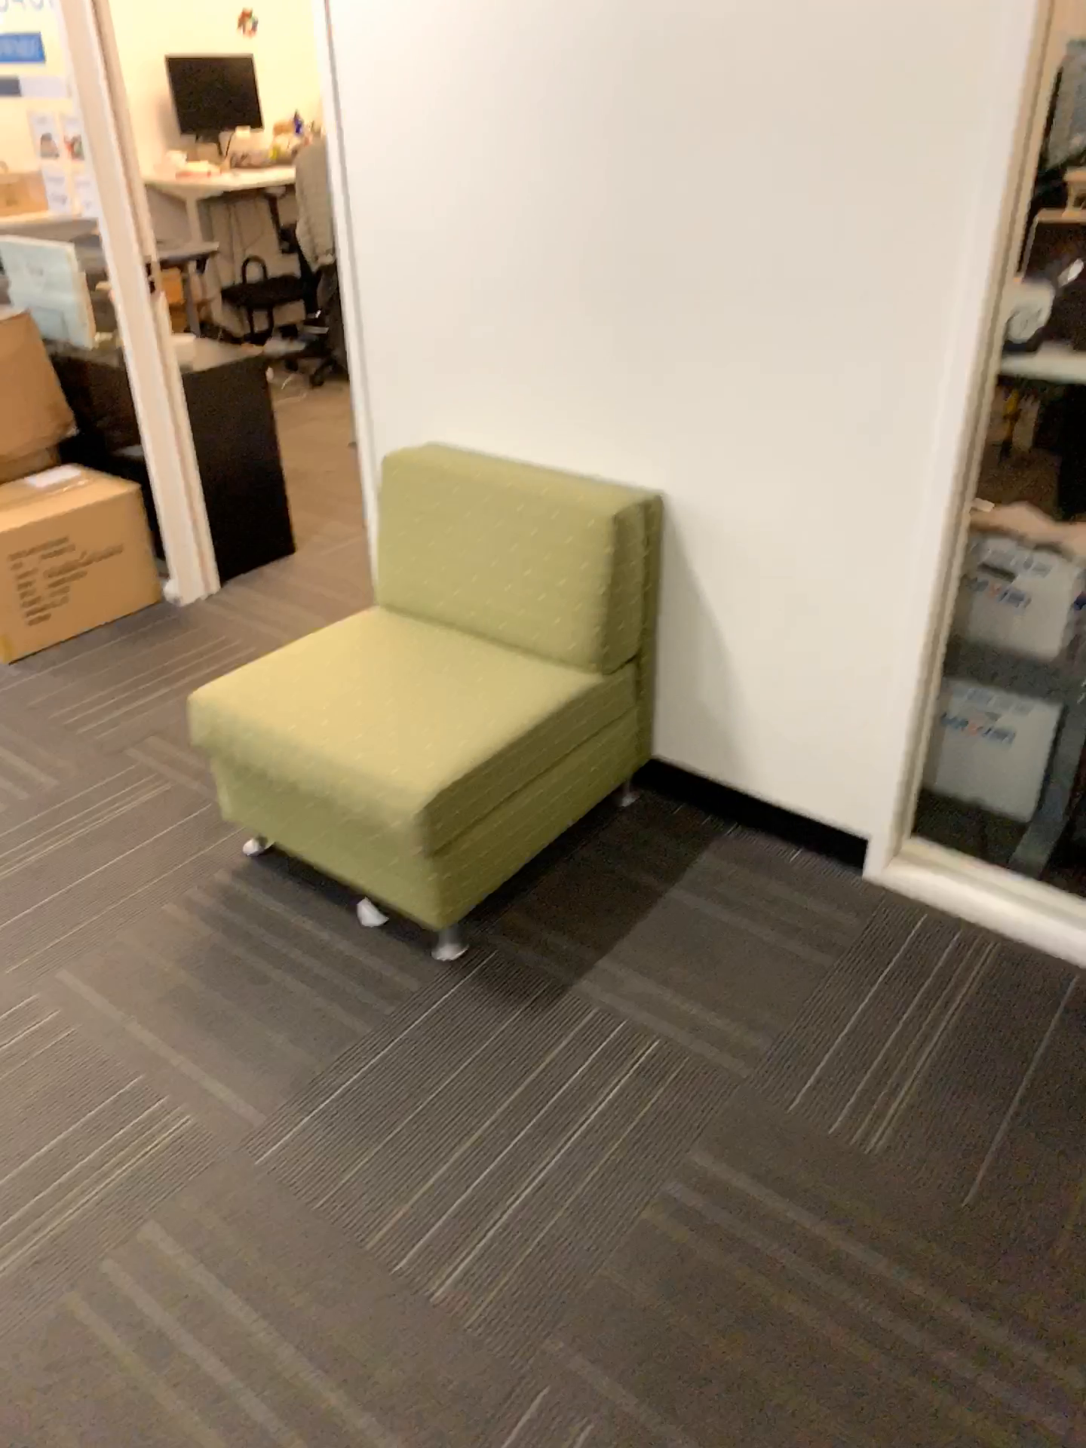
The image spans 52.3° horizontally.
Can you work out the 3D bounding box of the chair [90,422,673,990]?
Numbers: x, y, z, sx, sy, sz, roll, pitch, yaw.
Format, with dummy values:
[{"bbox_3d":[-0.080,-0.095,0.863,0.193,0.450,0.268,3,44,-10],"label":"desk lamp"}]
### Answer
[{"bbox_3d":[-0.273,-0.108,2.214,0.732,0.686,0.782,21,38,32],"label":"chair"}]
